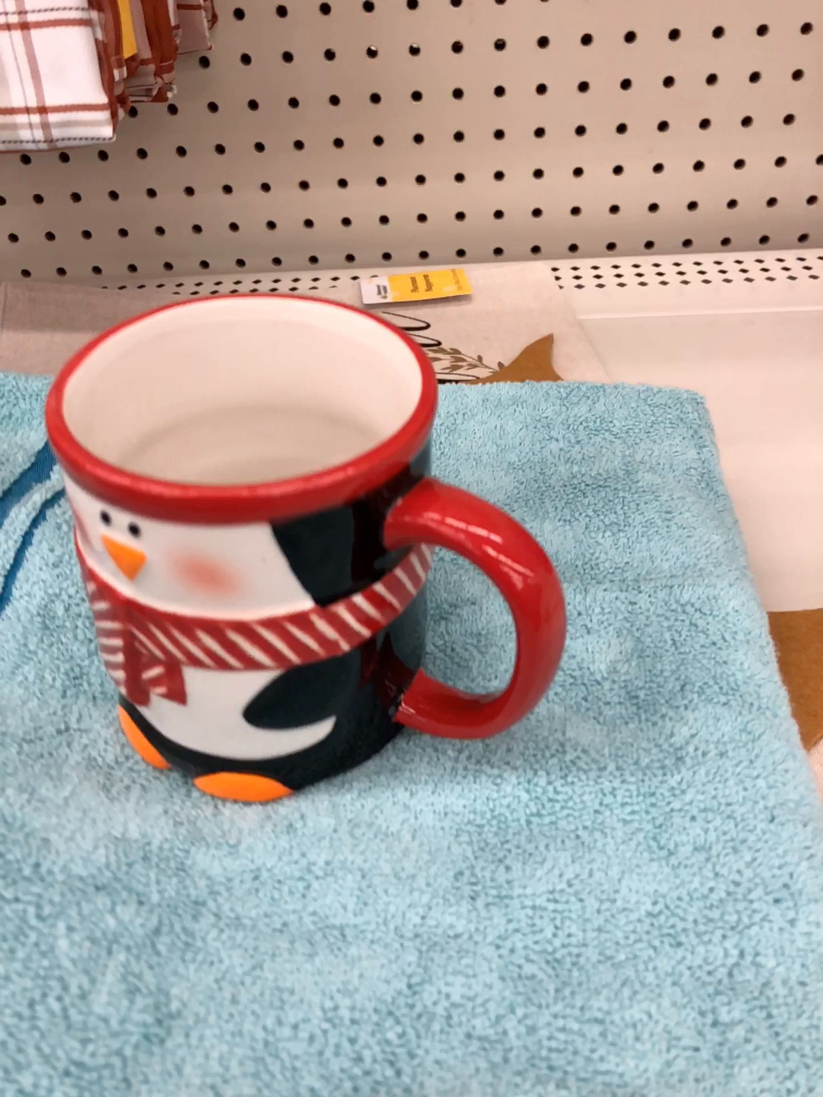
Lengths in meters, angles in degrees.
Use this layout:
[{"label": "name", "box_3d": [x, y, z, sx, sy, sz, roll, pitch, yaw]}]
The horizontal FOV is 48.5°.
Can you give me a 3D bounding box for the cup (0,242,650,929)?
[{"label": "cup", "box_3d": [-0.025, 0.003, 0.236, 0.130, 0.110, 0.090, 20, 44, 21]}]
